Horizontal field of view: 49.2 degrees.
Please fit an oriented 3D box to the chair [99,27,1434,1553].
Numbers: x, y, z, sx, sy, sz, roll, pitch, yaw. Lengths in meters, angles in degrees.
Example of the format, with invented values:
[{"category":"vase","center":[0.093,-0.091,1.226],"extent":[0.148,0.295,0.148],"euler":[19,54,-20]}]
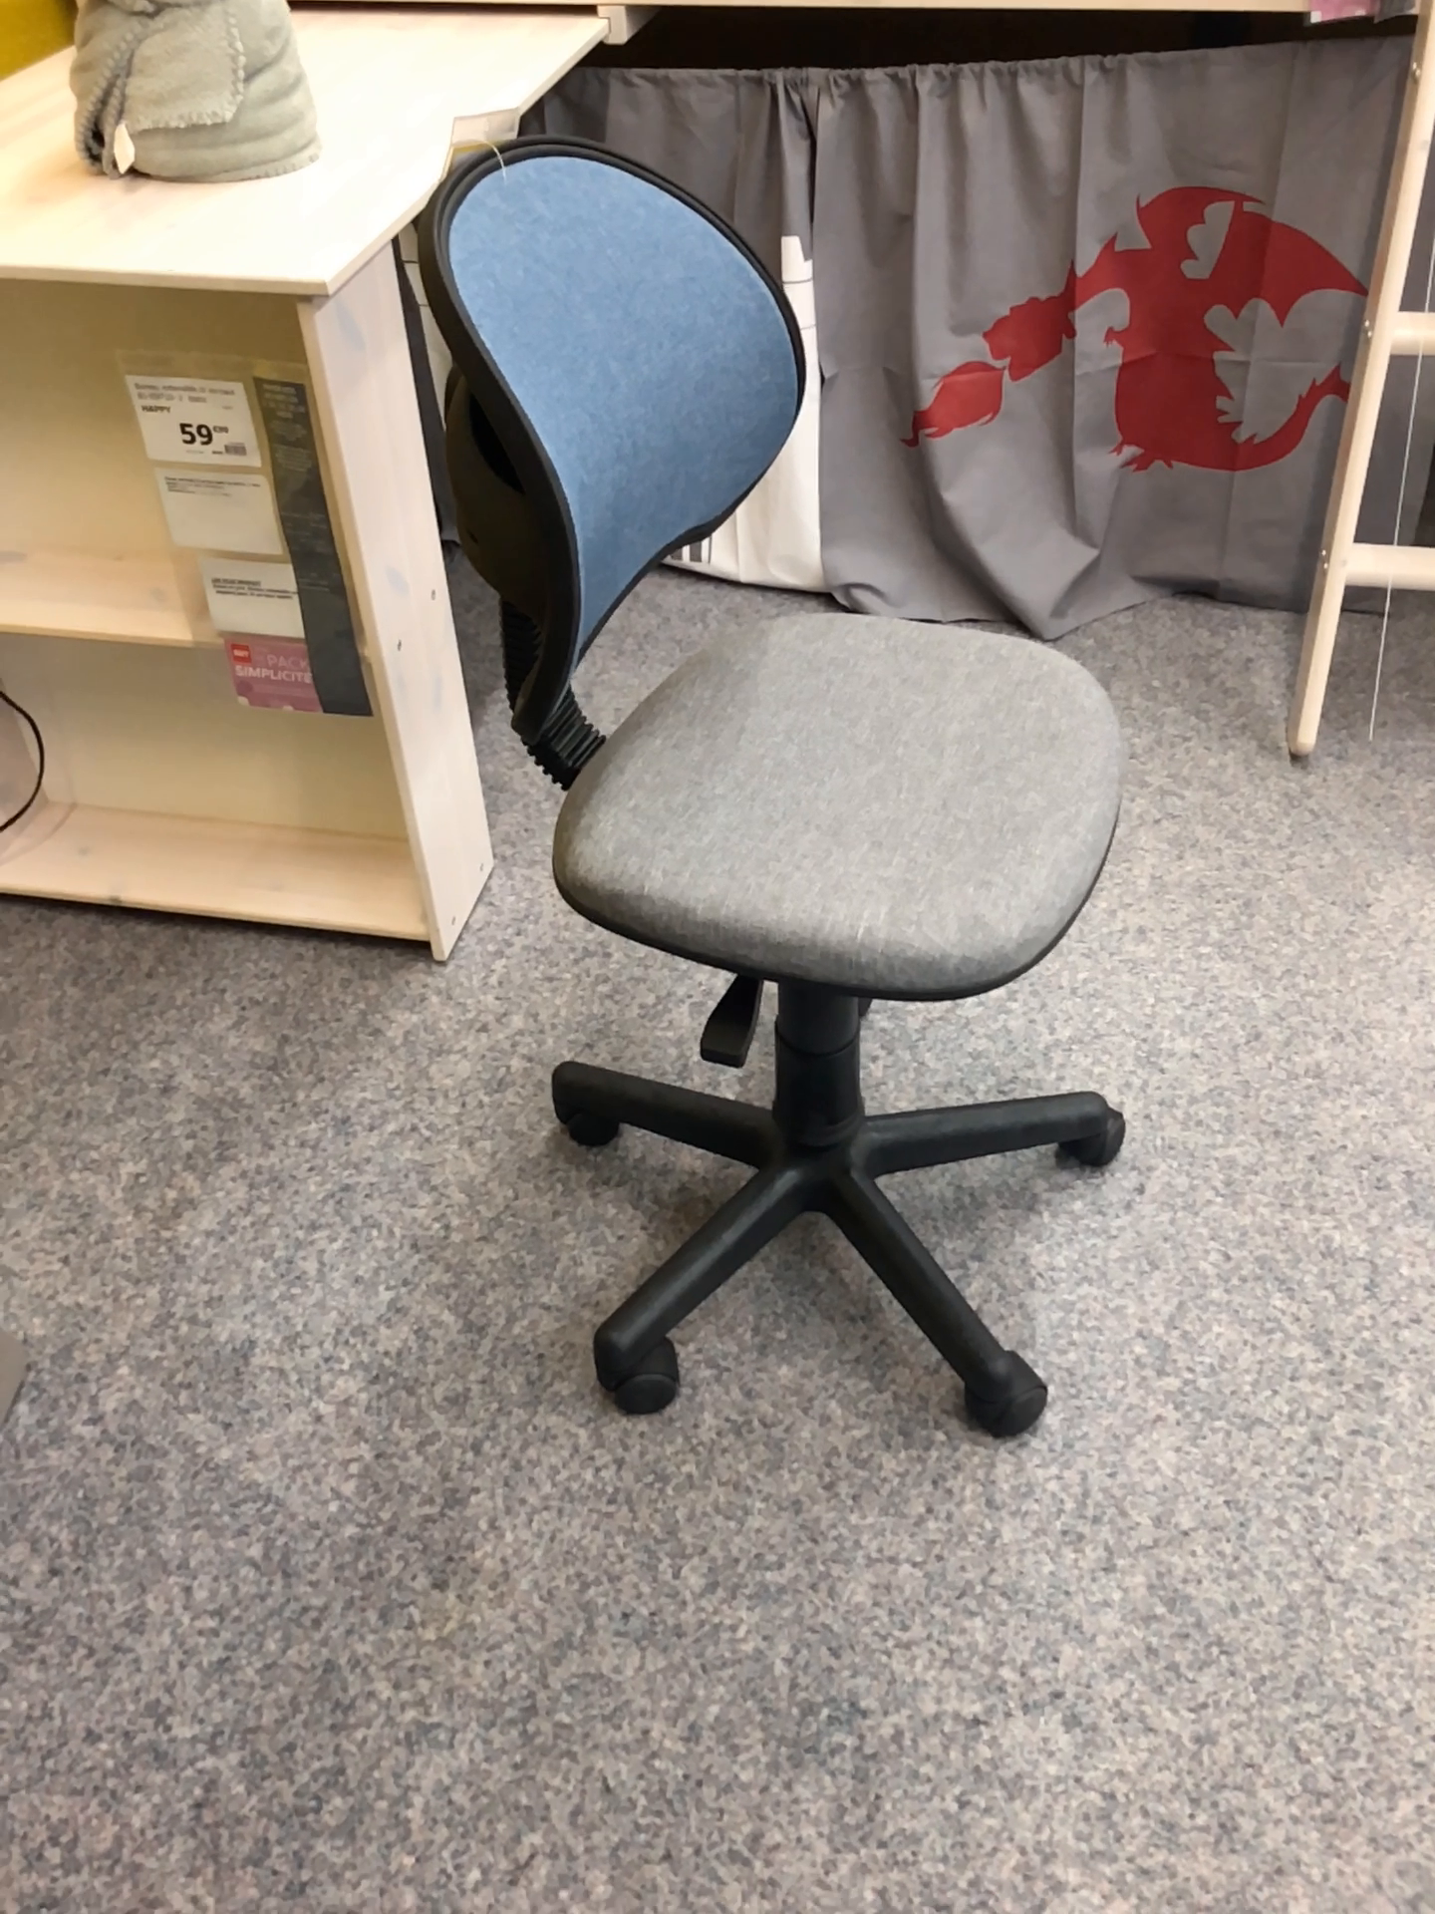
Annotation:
[{"category":"chair","center":[0.105,-0.135,1.063],"extent":[0.560,0.746,0.604],"euler":[10,42,15]}]
